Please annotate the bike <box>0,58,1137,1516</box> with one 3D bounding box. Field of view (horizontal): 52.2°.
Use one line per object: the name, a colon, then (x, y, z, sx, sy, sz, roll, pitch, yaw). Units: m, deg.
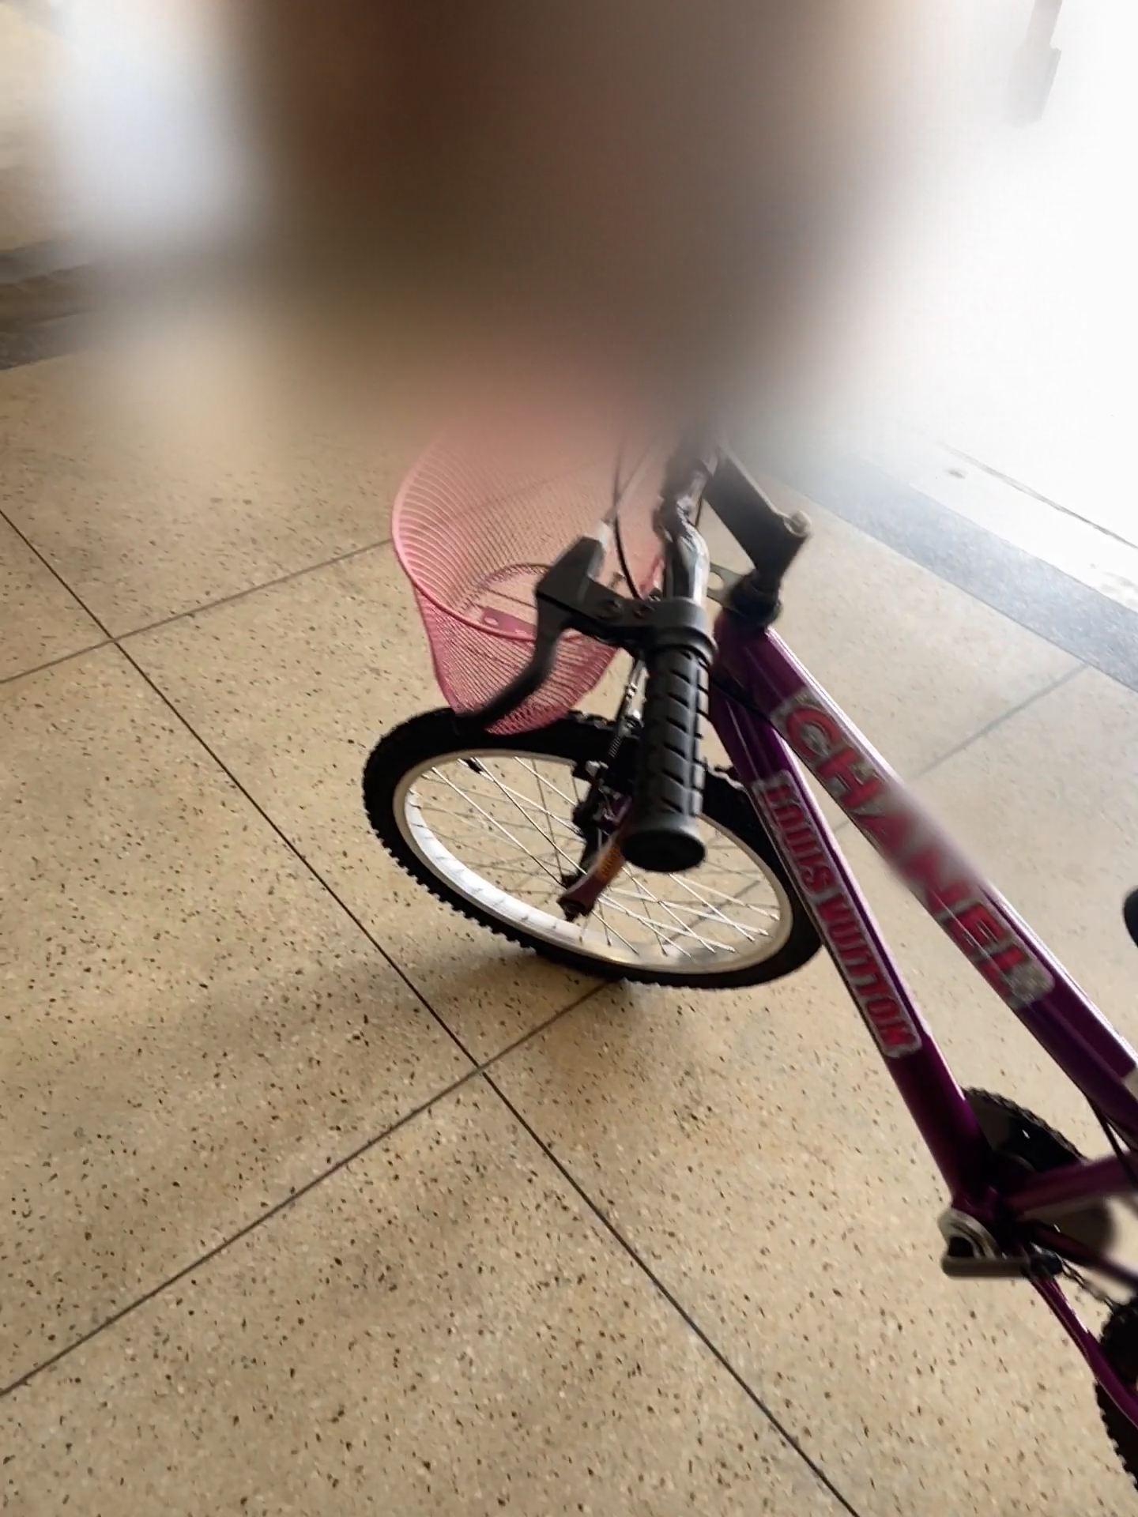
bike: (0.272, 0.238, 0.775, 1.263, 0.934, 0.617, 34, 51, 28)
